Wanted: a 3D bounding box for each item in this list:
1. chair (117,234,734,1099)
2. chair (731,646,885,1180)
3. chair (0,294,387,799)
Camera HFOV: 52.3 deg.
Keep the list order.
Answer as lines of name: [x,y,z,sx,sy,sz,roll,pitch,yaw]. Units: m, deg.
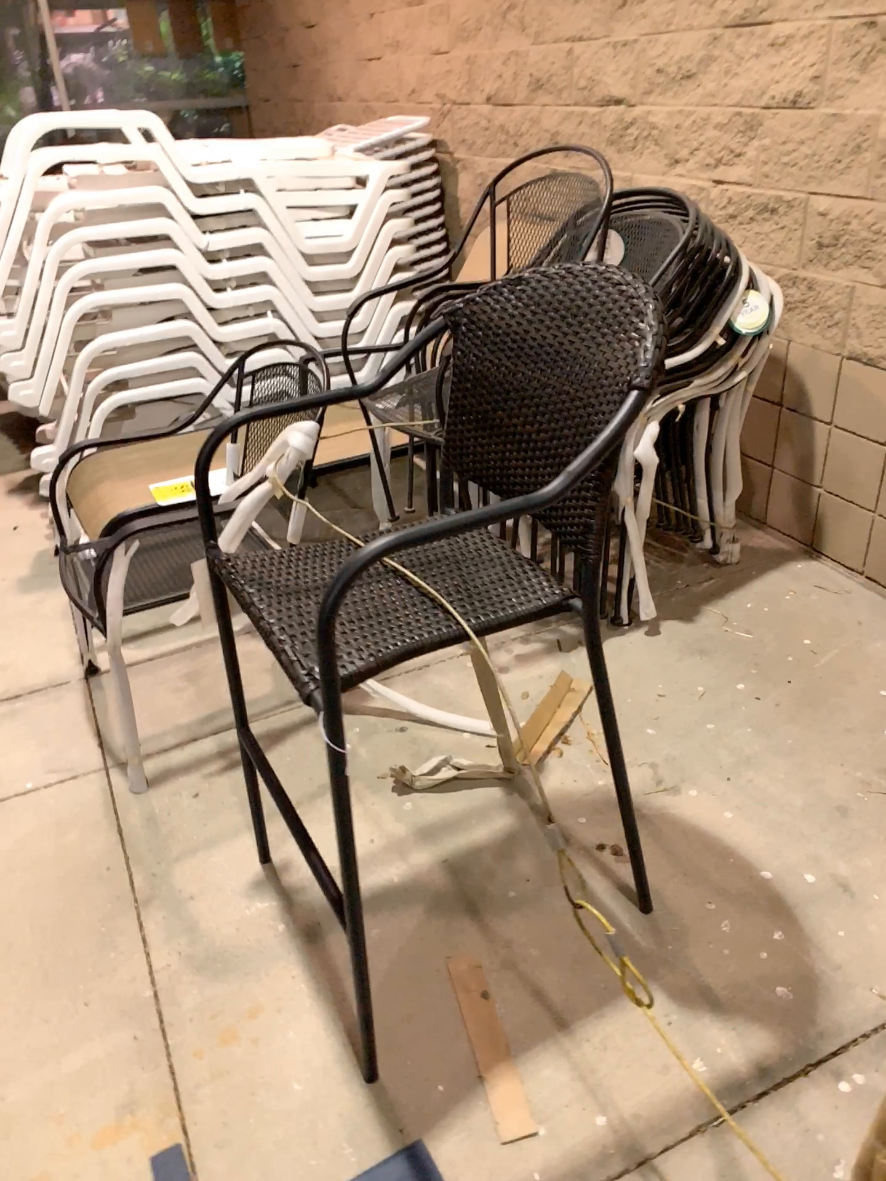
chair: [-0.023,0.093,1.429,0.607,1.101,0.560,-18,33,-22]
chair: [0.686,0.596,0.686,0.627,0.833,0.570,-10,30,-9]
chair: [-0.565,-0.136,2.014,0.607,0.833,0.580,-19,33,-24]
